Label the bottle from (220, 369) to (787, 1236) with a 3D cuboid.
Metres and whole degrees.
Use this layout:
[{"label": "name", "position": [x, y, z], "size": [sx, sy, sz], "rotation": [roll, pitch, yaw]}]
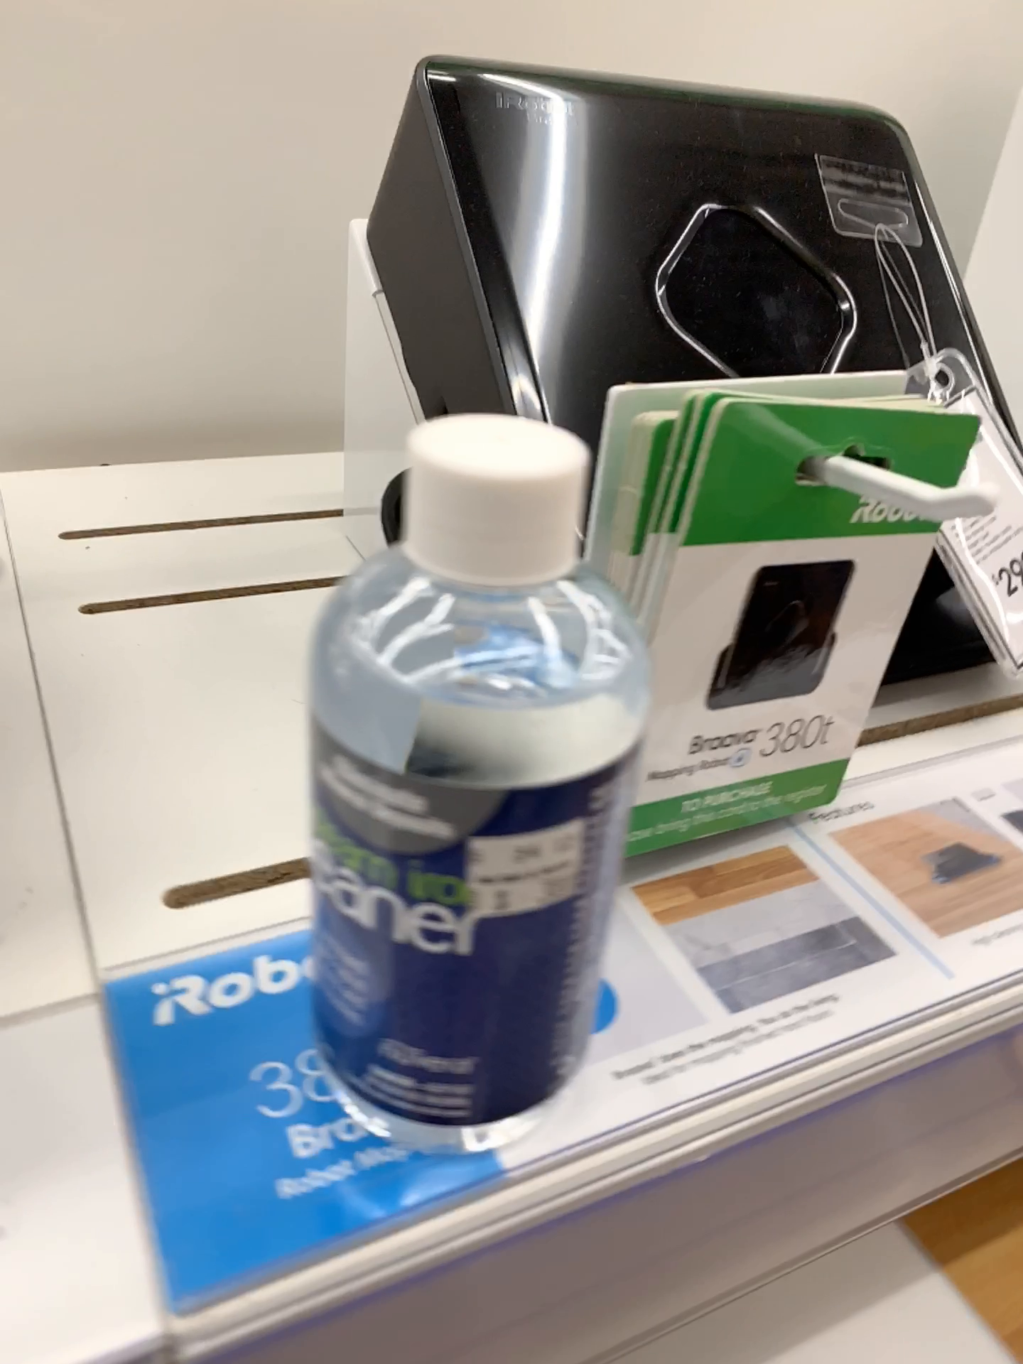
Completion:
[{"label": "bottle", "position": [-0.007, 0.020, 0.189], "size": [0.060, 0.129, 0.060], "rotation": [6, 31, -3]}]
